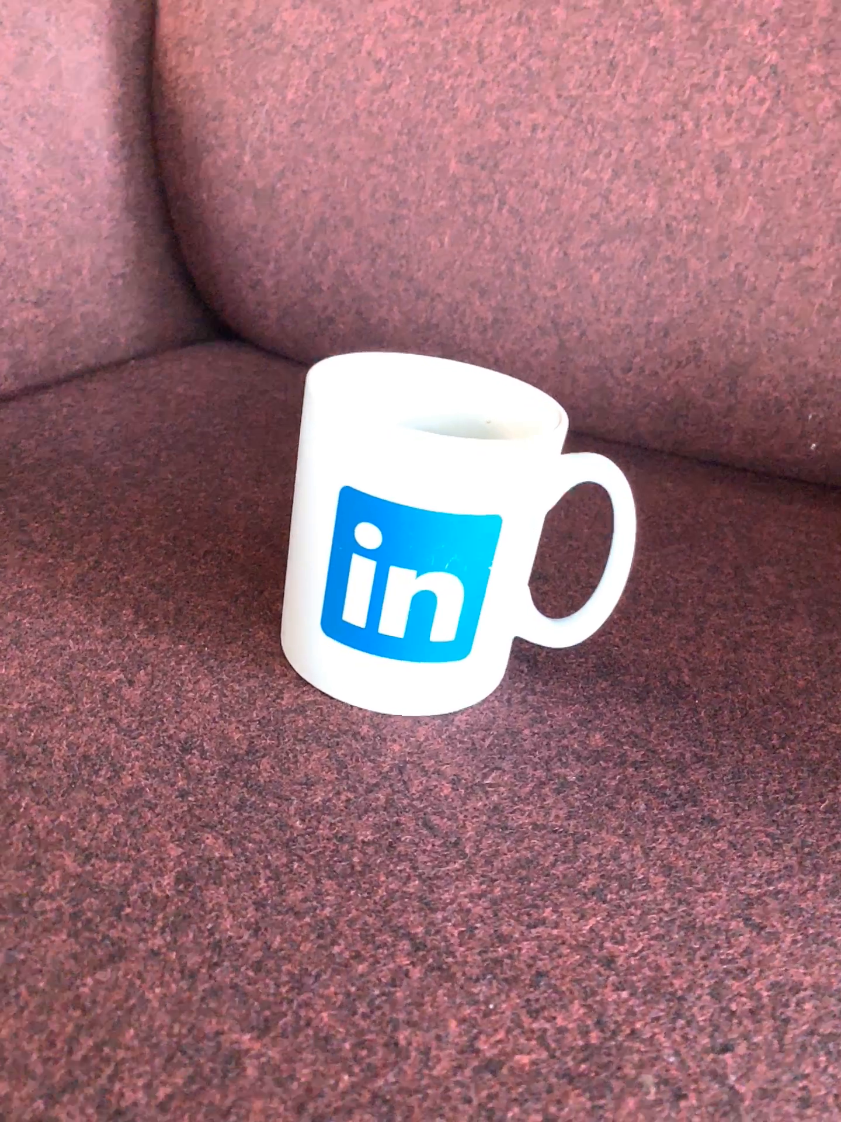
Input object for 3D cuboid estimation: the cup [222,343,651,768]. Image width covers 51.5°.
[{"bbox_3d":[0.003,-0.006,0.262,0.104,0.089,0.075,9,27,4],"label":"cup"}]
